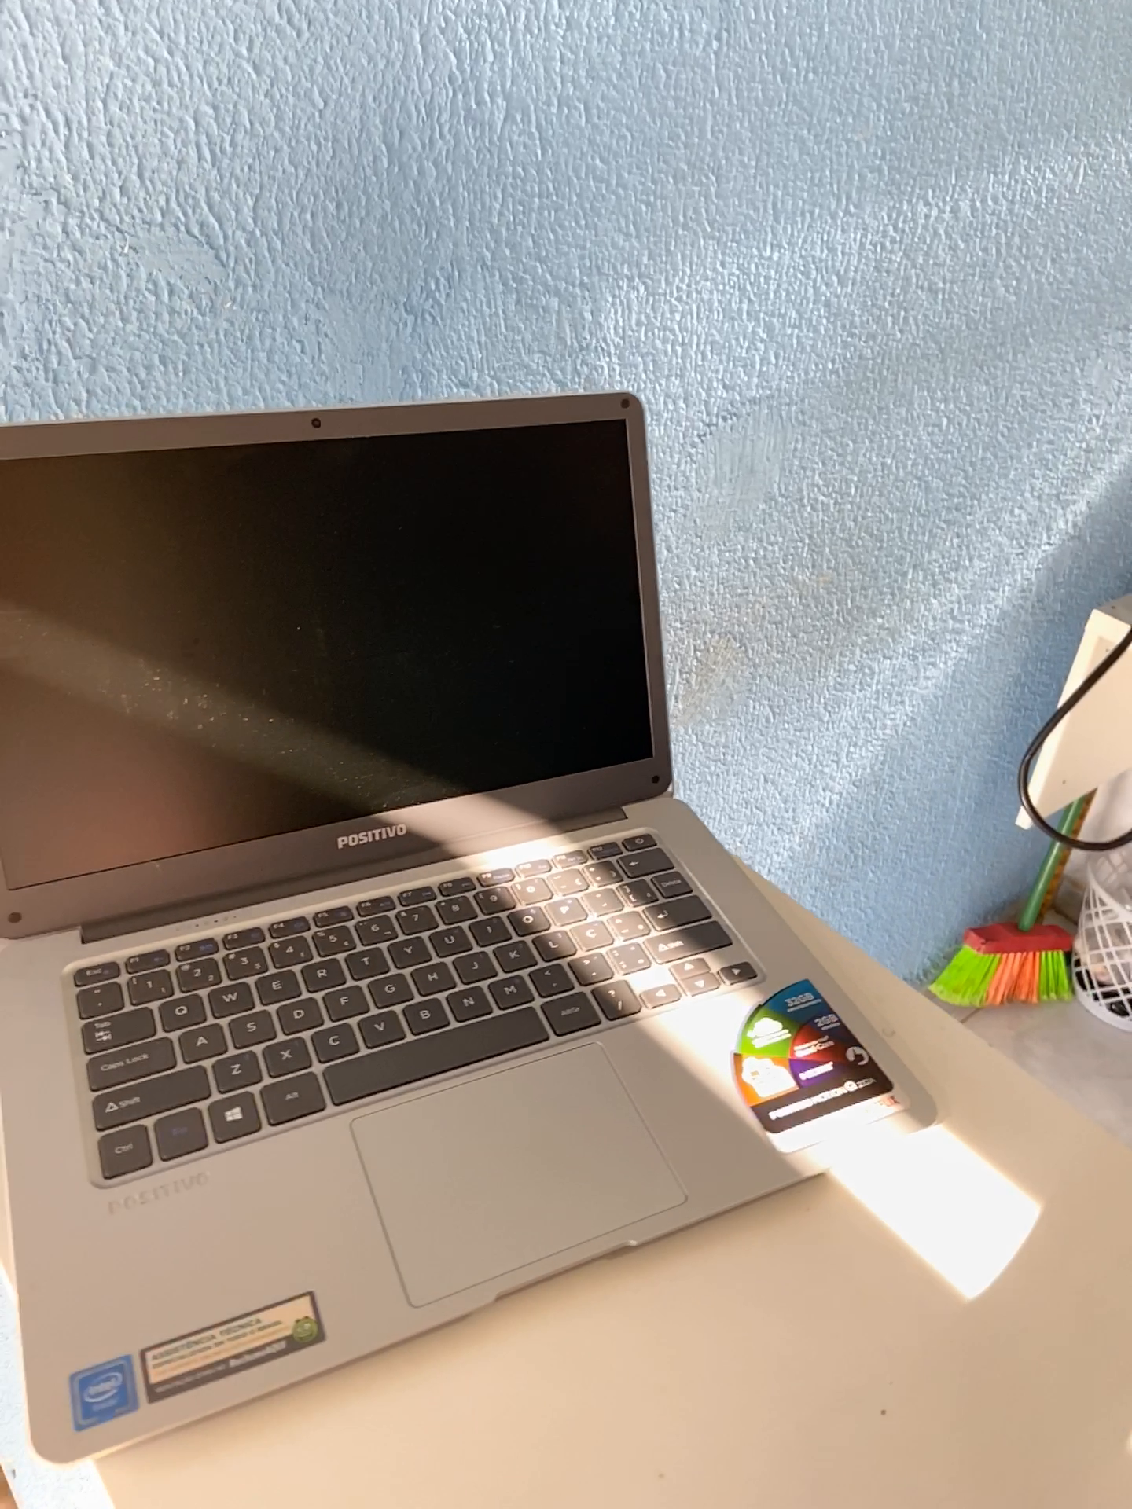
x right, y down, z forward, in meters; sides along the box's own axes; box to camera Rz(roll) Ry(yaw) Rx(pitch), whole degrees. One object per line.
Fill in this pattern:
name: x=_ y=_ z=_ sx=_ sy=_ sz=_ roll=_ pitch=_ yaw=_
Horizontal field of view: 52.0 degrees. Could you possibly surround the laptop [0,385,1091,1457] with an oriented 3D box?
laptop: x=-0.060 y=0.007 z=0.458 sx=0.333 sy=0.189 sz=0.312 roll=-11 pitch=38 yaw=-24
